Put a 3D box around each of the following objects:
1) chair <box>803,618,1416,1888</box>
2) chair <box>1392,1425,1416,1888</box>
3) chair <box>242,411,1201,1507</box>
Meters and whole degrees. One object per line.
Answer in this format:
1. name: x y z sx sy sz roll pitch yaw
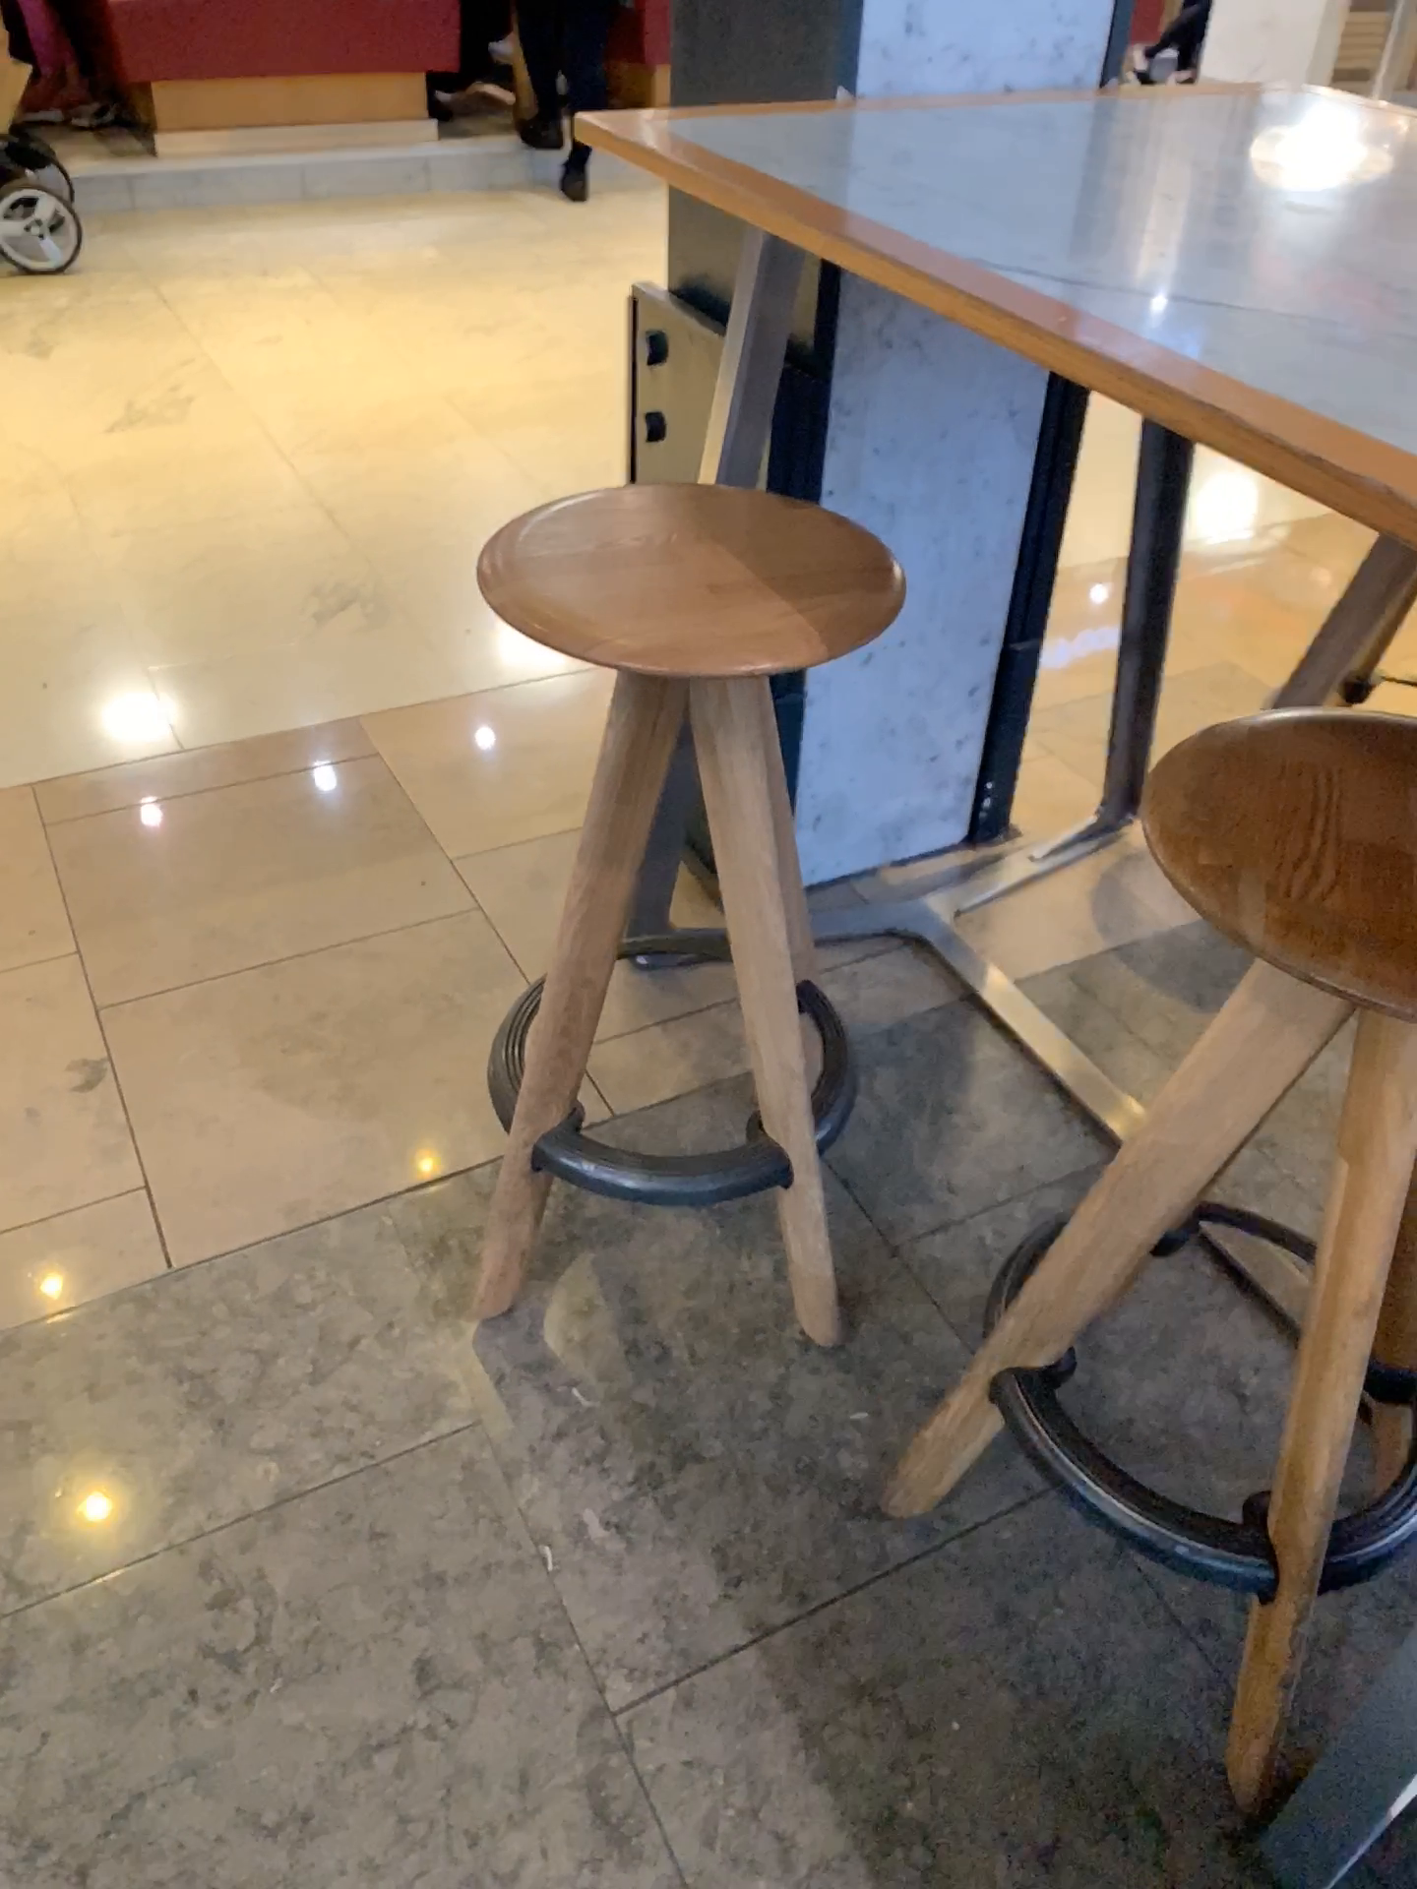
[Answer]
1. chair: 0.394 0.224 1.049 0.423 0.706 0.466 -16 42 -23
2. chair: 0.696 0.650 0.517 0.433 0.706 0.476 -16 42 -23
3. chair: -0.029 -0.015 1.337 0.554 0.706 0.537 -16 42 -23
